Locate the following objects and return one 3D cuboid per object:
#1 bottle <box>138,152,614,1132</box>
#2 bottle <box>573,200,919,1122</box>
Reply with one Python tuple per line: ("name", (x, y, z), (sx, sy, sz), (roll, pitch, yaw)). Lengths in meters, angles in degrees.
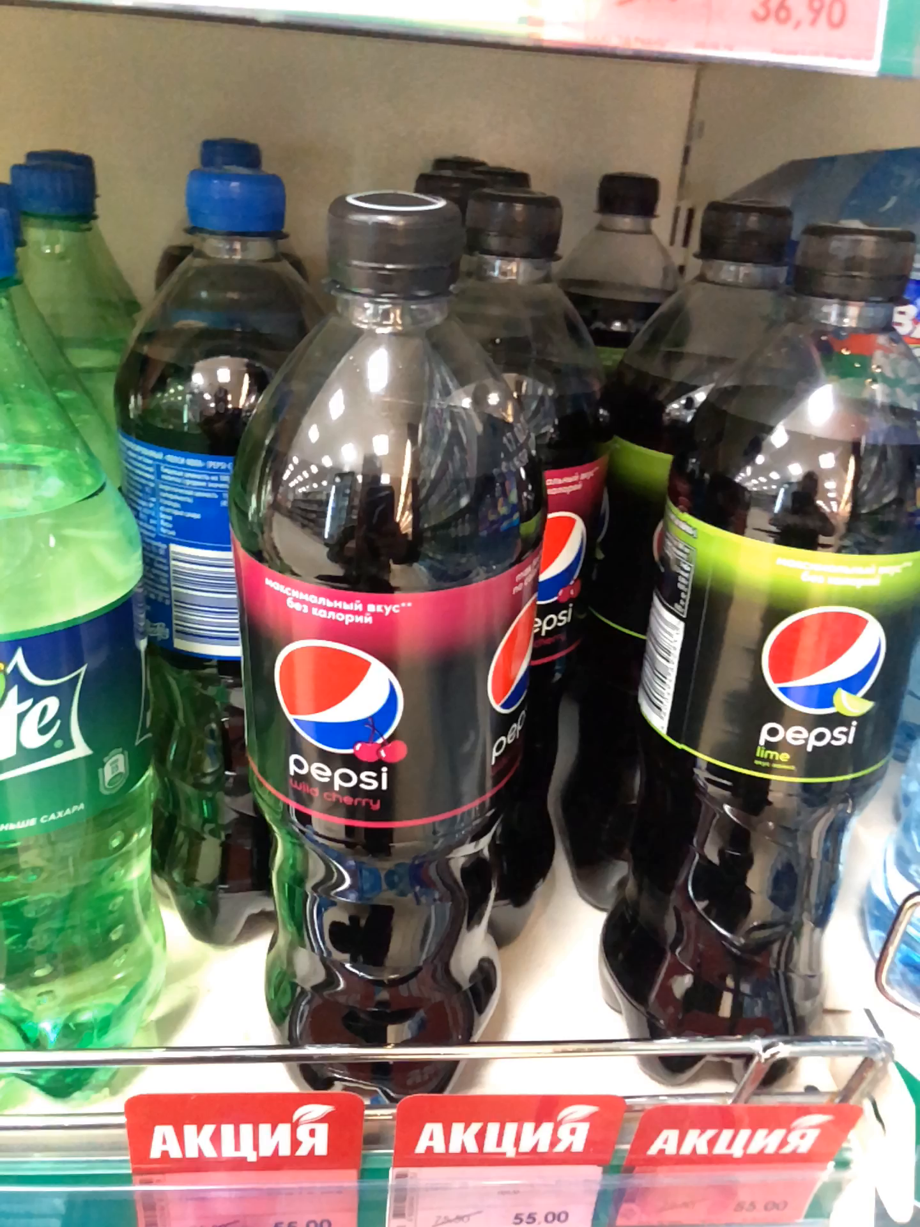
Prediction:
("bottle", (-0.020, 0.021, 0.280), (0.086, 0.256, 0.077), (8, 30, 5))
("bottle", (0.096, 0.023, 0.309), (0.086, 0.263, 0.077), (8, 26, 5))
